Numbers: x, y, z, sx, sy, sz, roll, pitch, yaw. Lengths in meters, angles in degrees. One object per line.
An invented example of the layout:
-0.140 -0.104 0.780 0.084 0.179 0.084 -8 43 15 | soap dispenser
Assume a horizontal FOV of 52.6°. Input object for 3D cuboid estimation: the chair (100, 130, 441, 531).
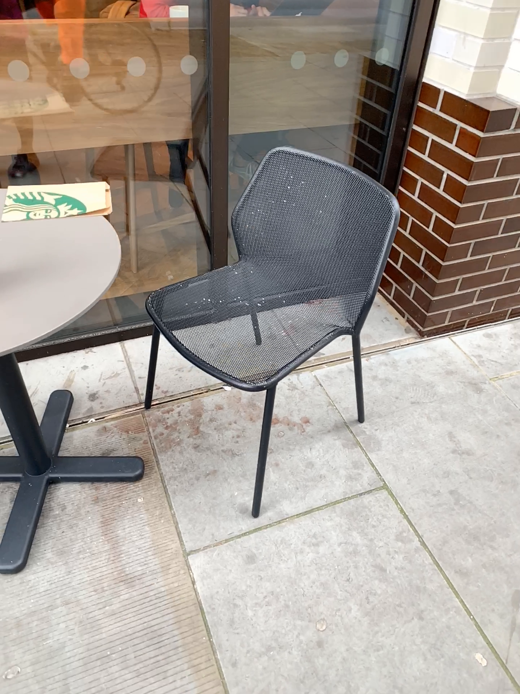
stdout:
0.001 -0.069 1.481 0.542 0.797 0.593 -30 50 -34 | chair
